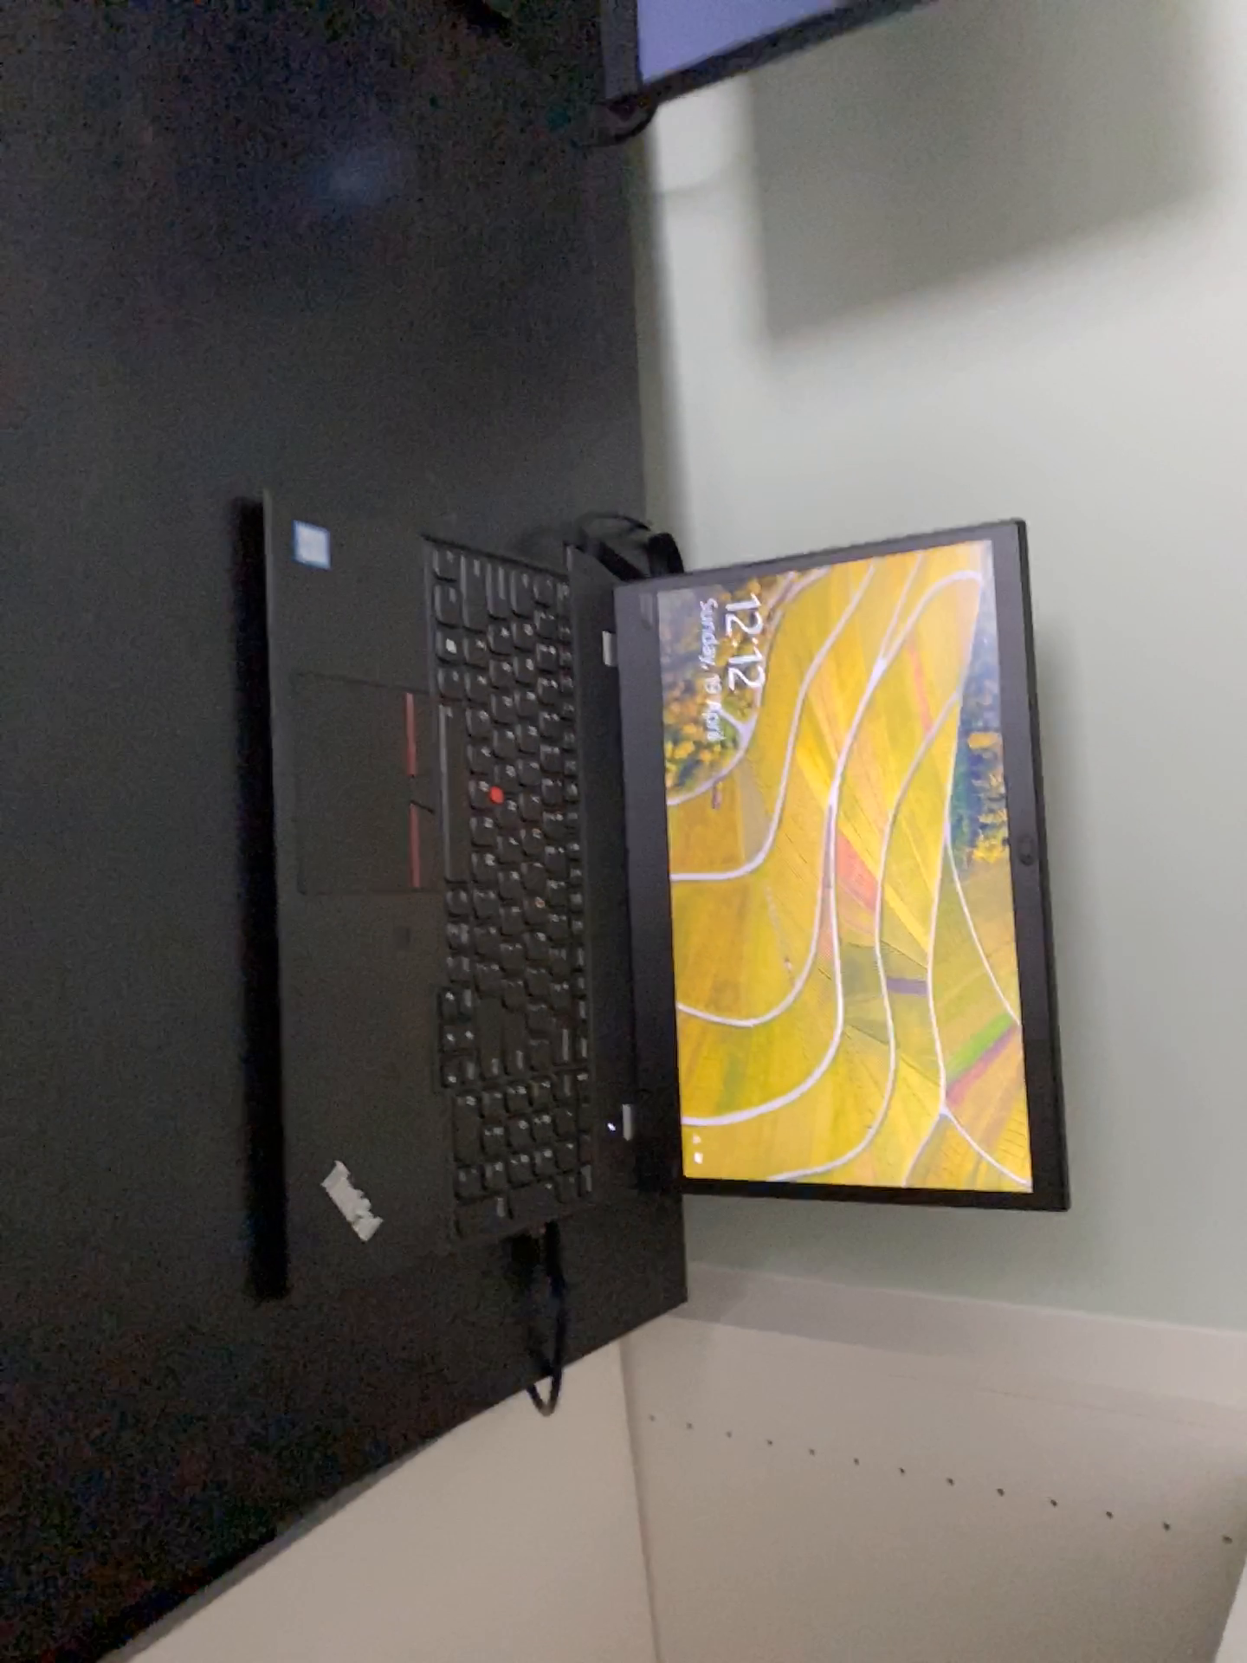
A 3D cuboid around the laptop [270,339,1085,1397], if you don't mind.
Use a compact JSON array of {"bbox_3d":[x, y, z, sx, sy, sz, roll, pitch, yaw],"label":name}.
[{"bbox_3d":[0.038,0.020,0.603,0.295,0.231,0.351,3,82,-53],"label":"laptop"}]
